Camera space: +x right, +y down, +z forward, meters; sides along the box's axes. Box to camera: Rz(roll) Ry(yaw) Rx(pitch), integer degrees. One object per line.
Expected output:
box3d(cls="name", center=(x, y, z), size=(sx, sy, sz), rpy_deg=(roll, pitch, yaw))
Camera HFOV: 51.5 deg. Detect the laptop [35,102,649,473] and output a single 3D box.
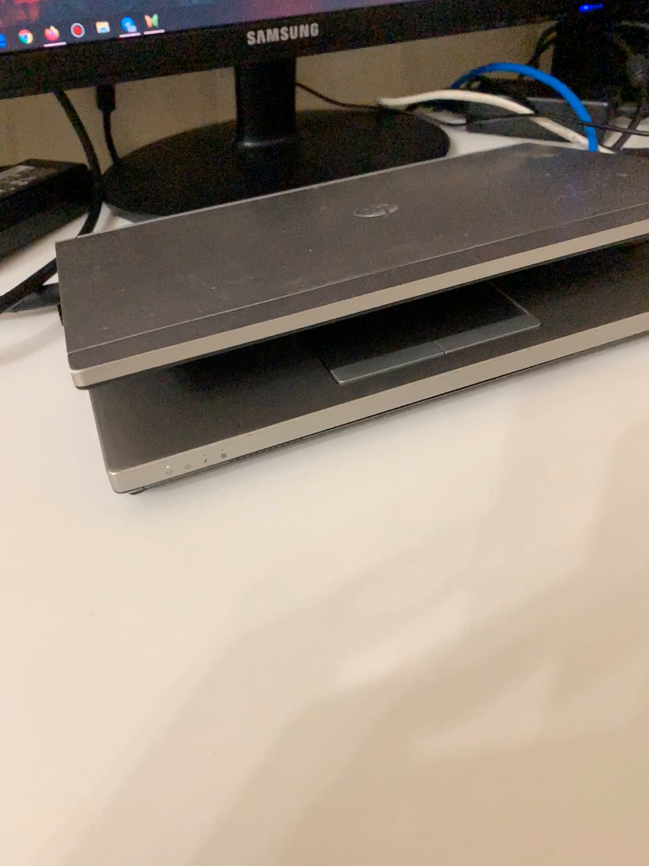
box3d(cls="laptop", center=(0.023, -0.095, 0.324), size=(0.293, 0.029, 0.184), rpy_deg=(-17, 43, -14))
